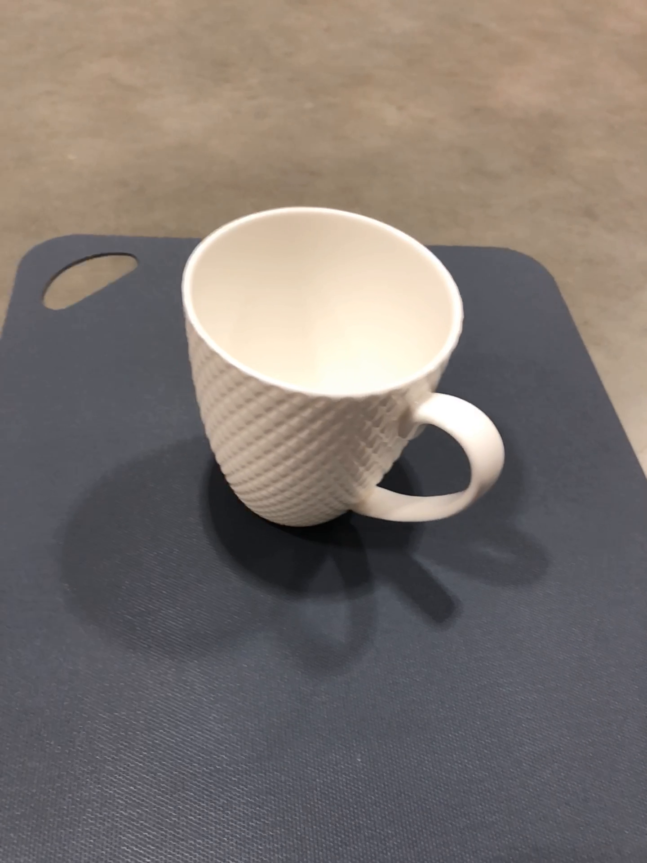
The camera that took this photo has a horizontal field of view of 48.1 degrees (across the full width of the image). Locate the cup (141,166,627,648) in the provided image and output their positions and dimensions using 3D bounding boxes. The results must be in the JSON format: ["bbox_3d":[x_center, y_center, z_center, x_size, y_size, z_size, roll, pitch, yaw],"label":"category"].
[{"bbox_3d":[0.015,-0.014,0.267,0.130,0.090,0.090,38,55,22],"label":"cup"}]
